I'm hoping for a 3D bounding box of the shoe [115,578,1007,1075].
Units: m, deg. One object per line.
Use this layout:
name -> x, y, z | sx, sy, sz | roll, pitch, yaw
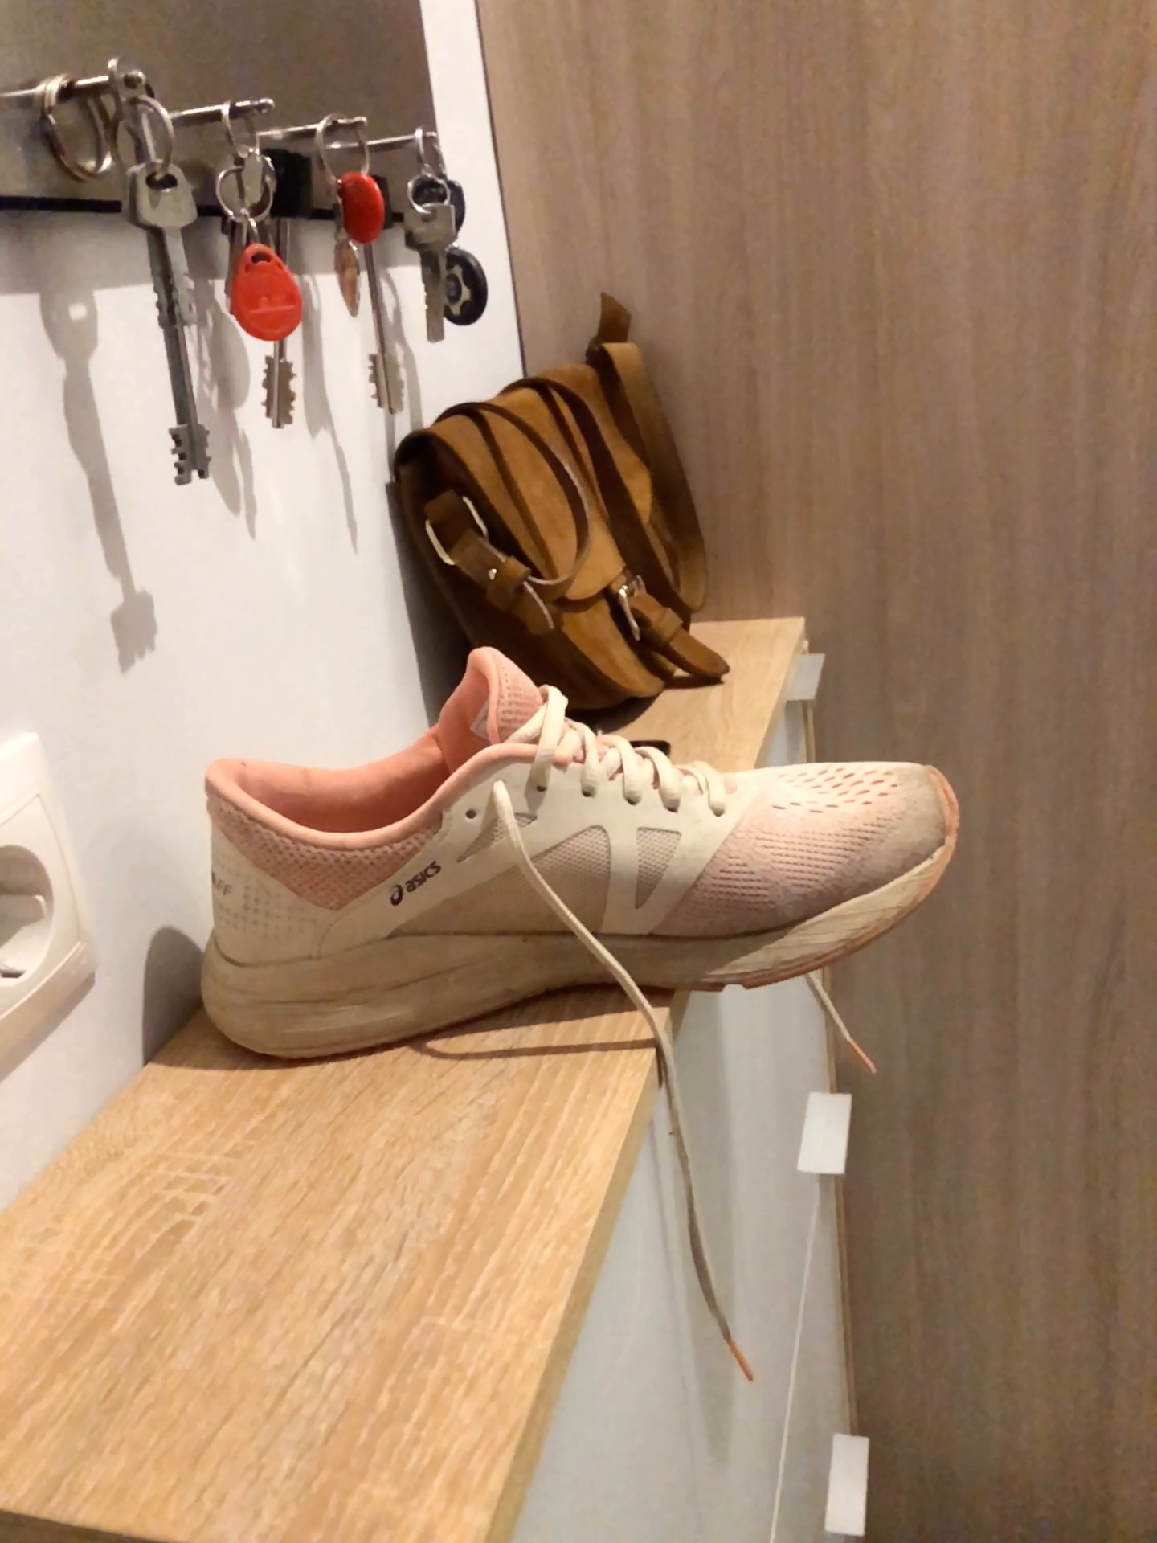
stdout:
shoe -> -0.002, 0.012, 0.449 | 0.268, 0.104, 0.111 | -8, 21, -1
